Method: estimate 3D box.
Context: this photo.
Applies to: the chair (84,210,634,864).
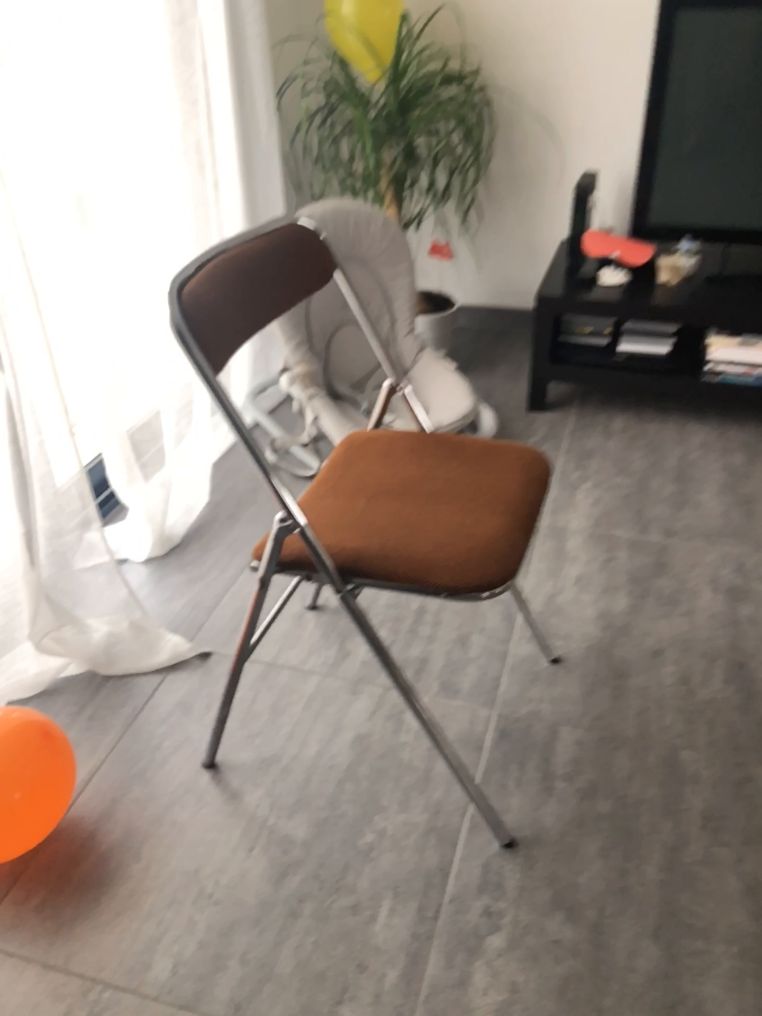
[{"bbox_3d":[0.020,0.013,1.229,0.550,0.736,0.483,9,34,16],"label":"chair"}]
